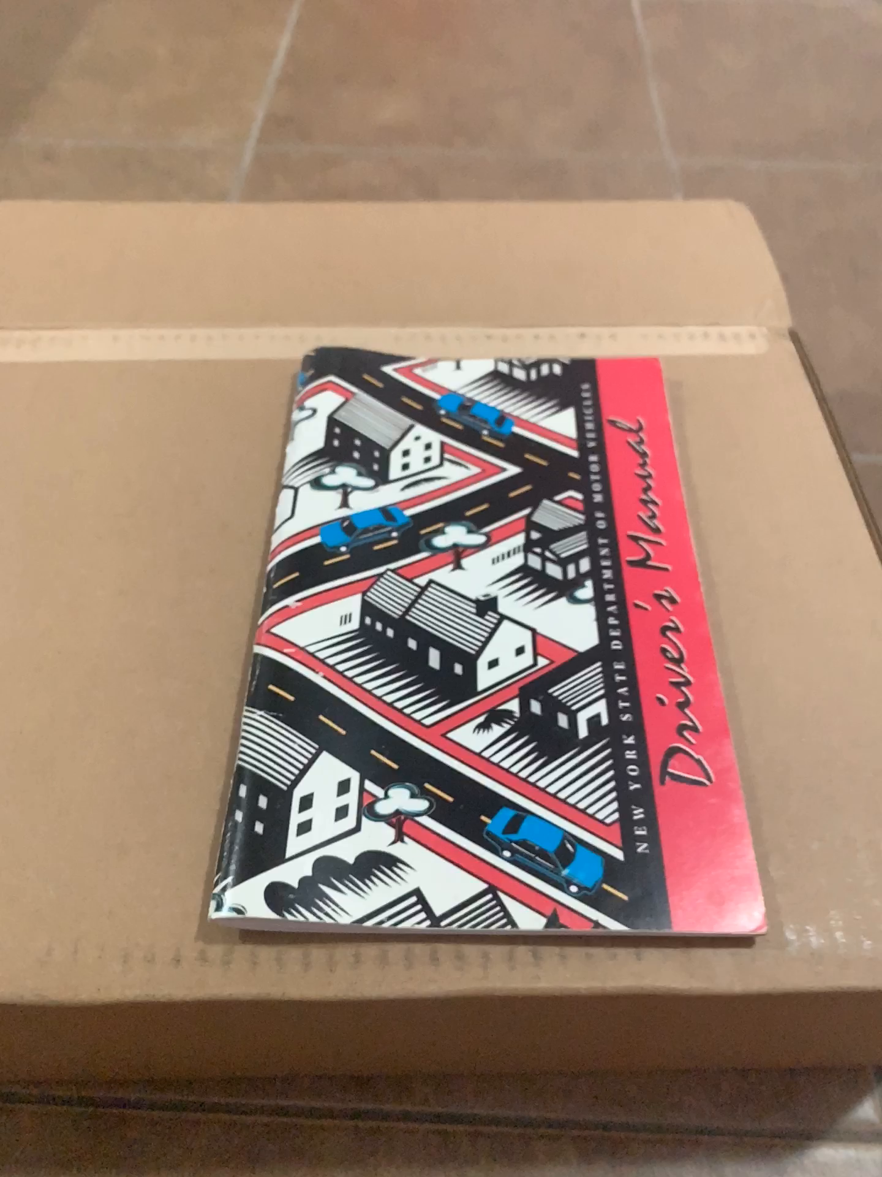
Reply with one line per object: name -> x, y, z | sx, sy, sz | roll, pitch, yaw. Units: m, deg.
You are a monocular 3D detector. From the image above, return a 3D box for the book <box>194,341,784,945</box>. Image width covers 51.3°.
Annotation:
book -> 0.013, -0.003, 0.276 | 0.133, 0.013, 0.208 | 1, 52, 0
